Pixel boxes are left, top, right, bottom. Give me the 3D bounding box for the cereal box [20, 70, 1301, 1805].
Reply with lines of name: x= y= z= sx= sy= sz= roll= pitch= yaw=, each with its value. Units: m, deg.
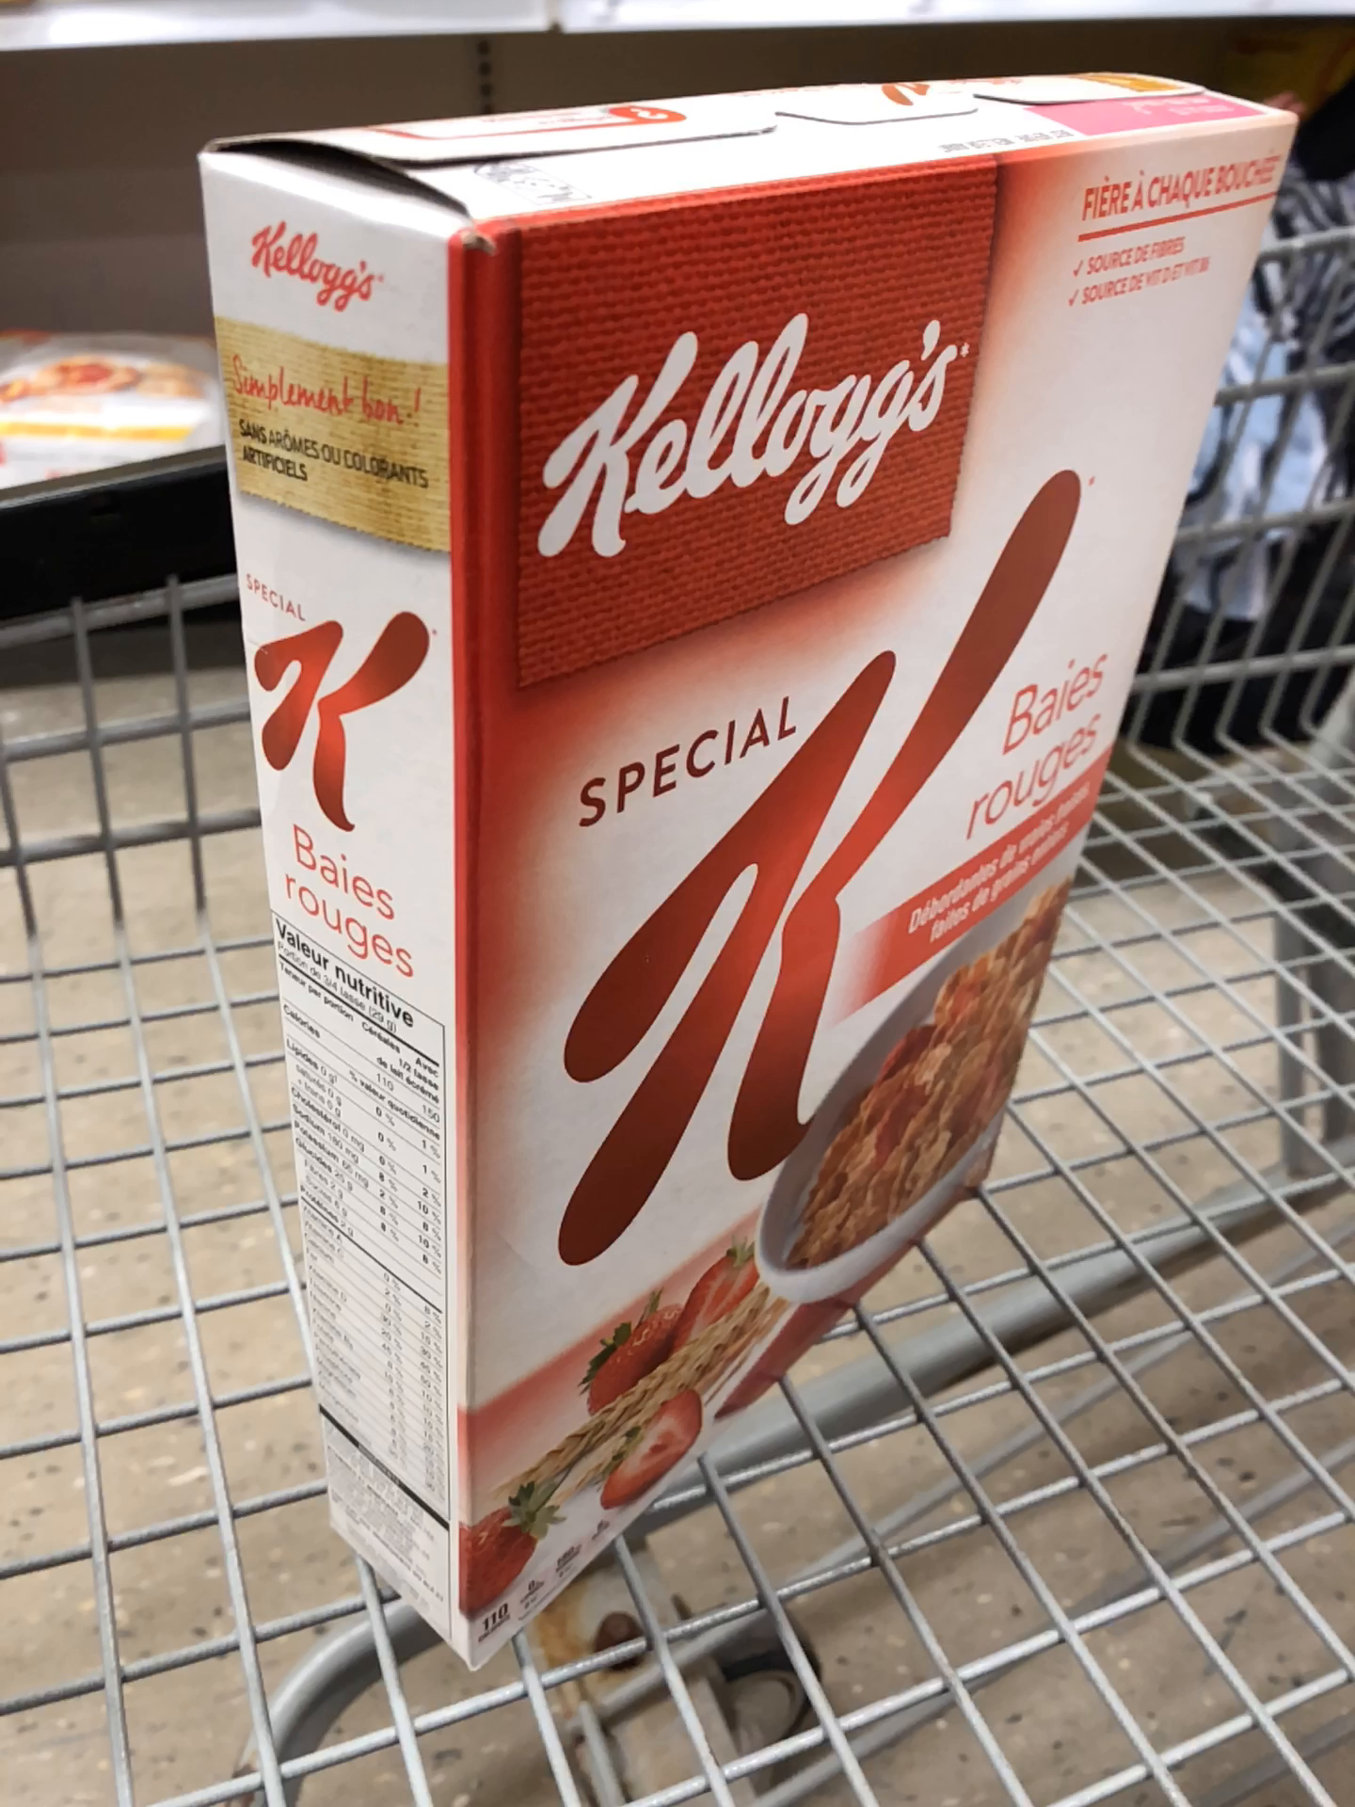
cereal box: x=0.014 y=0.002 z=0.284 sx=0.050 sy=0.269 sz=0.210 roll=28 pitch=41 yaw=32
